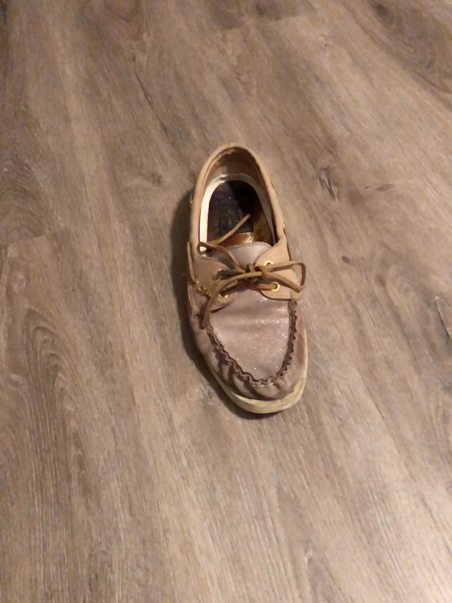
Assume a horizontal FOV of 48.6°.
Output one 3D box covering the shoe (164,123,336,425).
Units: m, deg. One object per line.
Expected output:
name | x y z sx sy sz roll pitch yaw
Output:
shoe | 0.008 -0.035 0.419 0.100 0.070 0.251 -6 57 -3
